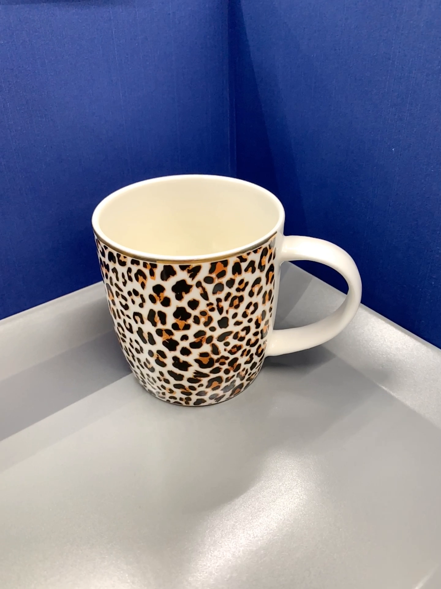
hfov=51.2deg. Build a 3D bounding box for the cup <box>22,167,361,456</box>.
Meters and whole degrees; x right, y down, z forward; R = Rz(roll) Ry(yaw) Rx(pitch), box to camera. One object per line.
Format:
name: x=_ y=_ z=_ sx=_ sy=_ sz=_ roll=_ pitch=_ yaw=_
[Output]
cup: x=-0.004 y=0.001 z=0.232 sx=0.126 sy=0.095 sz=0.099 roll=5 pitch=33 yaw=10
